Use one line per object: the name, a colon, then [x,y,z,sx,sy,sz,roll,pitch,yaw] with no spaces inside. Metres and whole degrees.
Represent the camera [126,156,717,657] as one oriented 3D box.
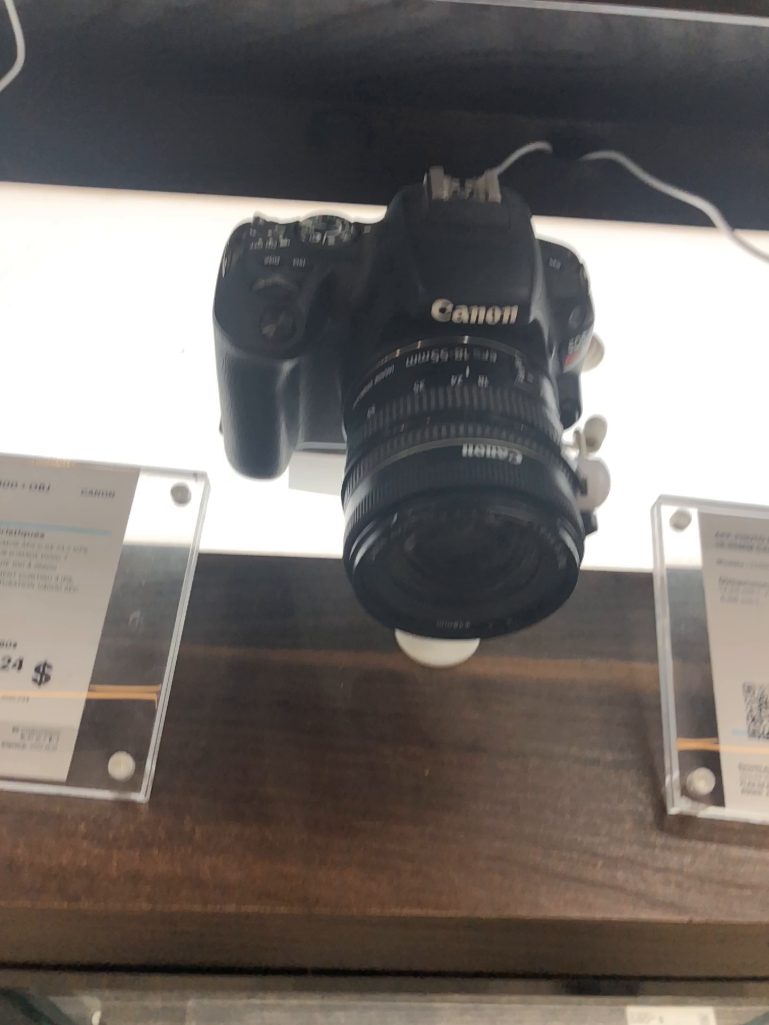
camera: [0.006,-0.033,0.249,0.124,0.082,0.119,2,48,-2]
